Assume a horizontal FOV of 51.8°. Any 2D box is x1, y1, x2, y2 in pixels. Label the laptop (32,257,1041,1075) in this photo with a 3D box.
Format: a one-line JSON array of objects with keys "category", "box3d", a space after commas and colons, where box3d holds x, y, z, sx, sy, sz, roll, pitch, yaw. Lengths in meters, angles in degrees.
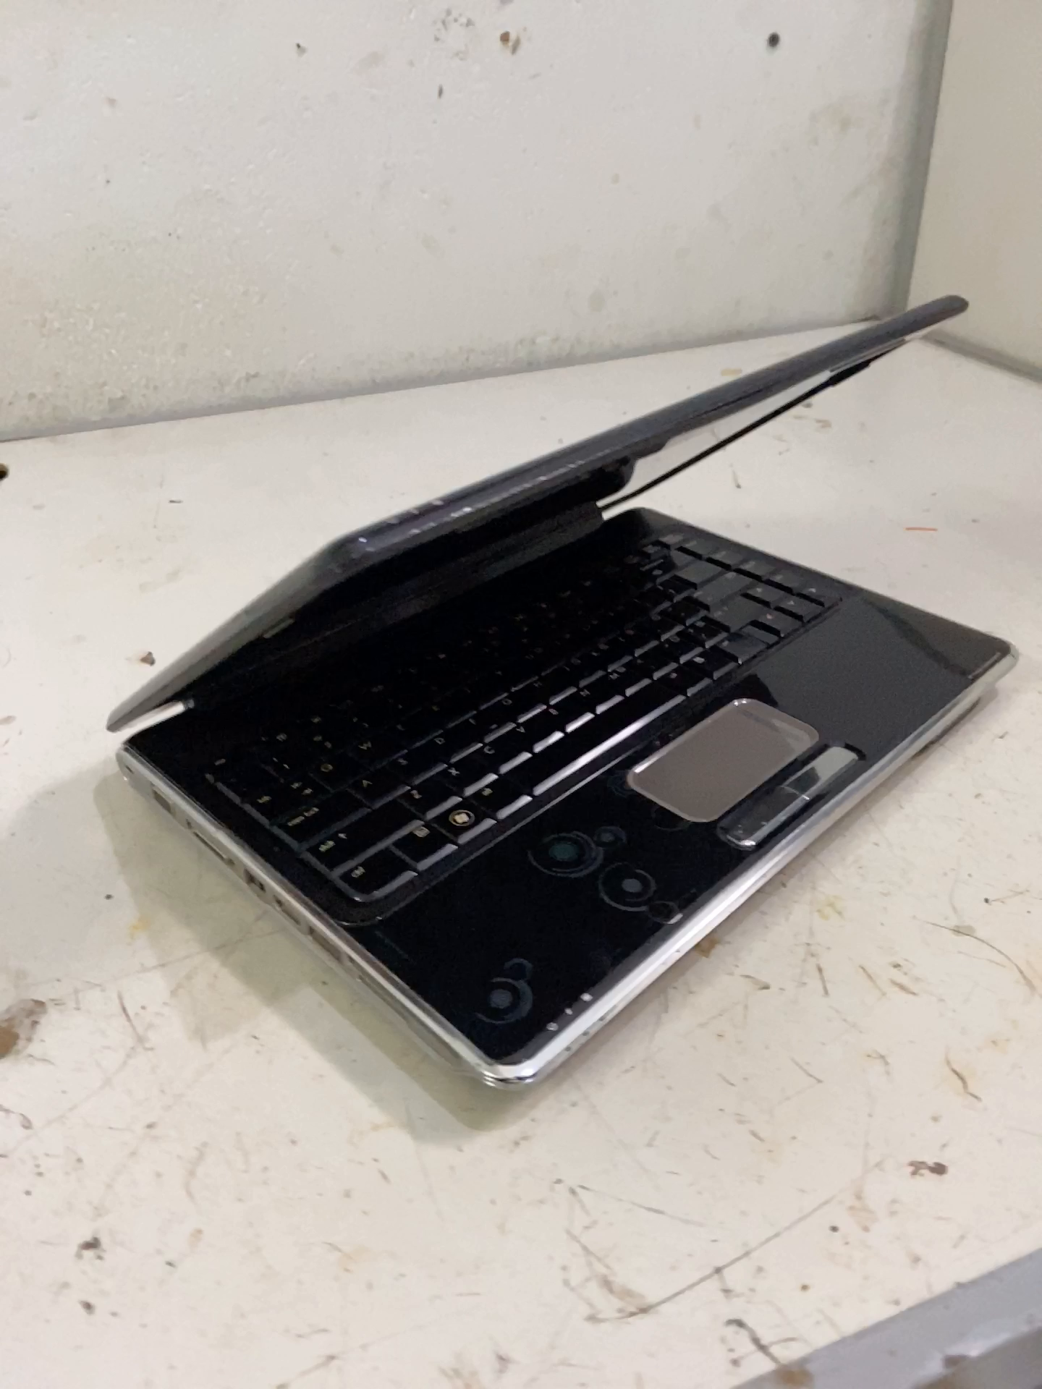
[{"category": "laptop", "box3d": [0.031, -0.060, 0.434, 0.329, 0.137, 0.231, -29, 43, -36]}]
